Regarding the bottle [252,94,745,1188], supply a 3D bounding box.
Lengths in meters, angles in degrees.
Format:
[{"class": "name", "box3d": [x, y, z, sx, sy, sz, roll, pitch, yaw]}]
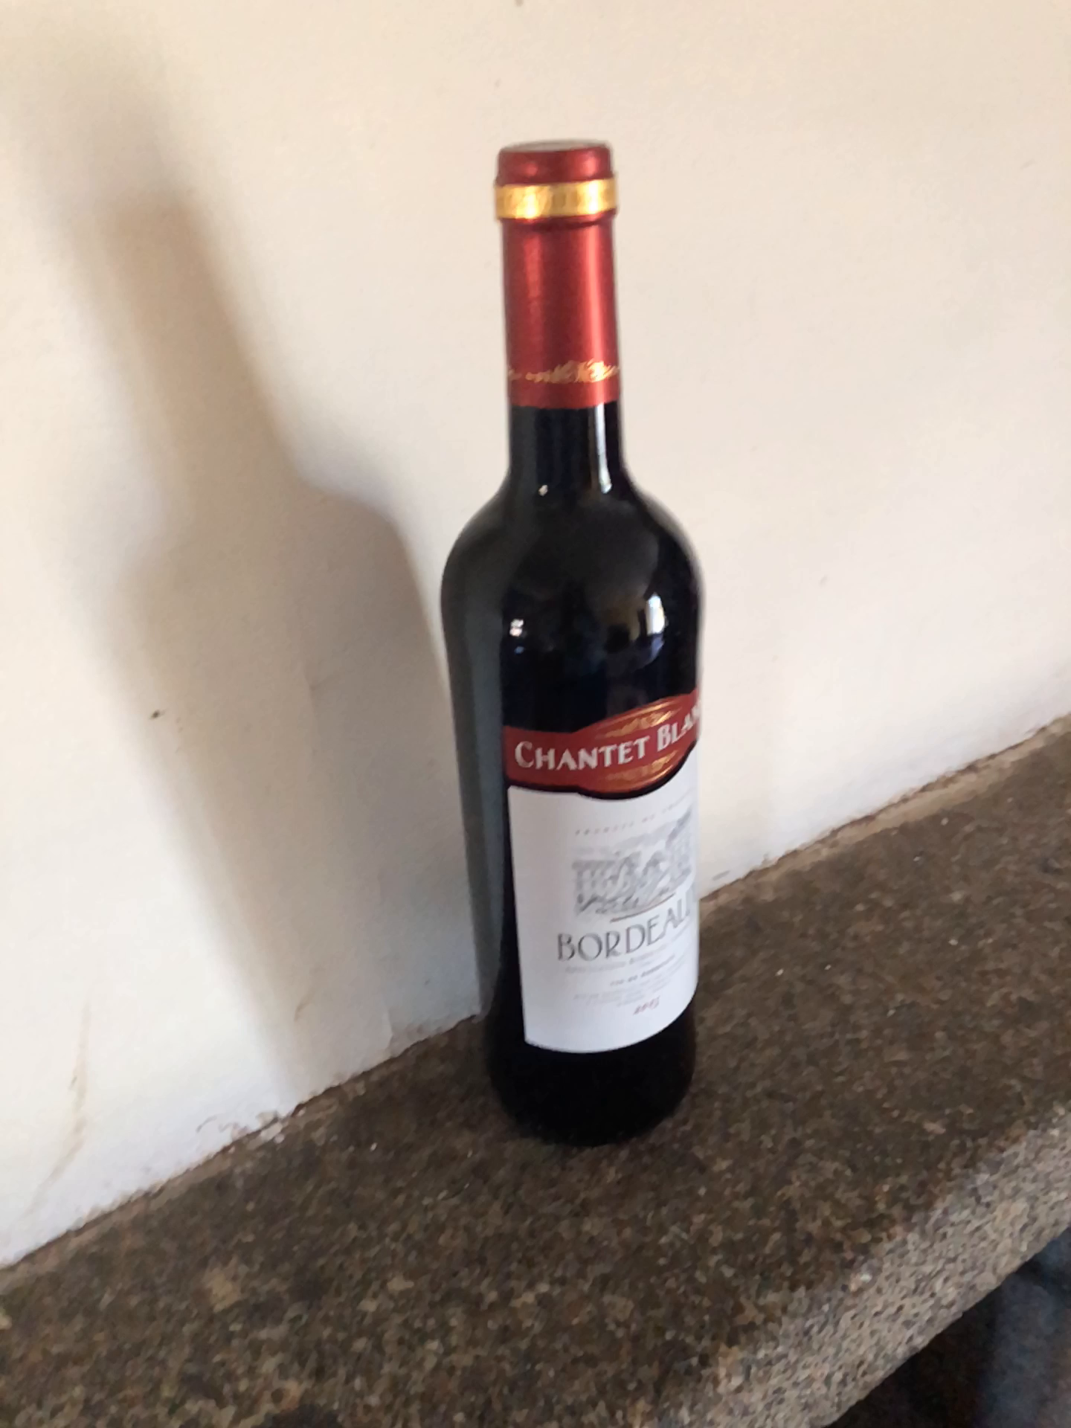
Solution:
[{"class": "bottle", "box3d": [0.000, -0.010, 0.336, 0.080, 0.288, 0.080, -4, 30, 2]}]
